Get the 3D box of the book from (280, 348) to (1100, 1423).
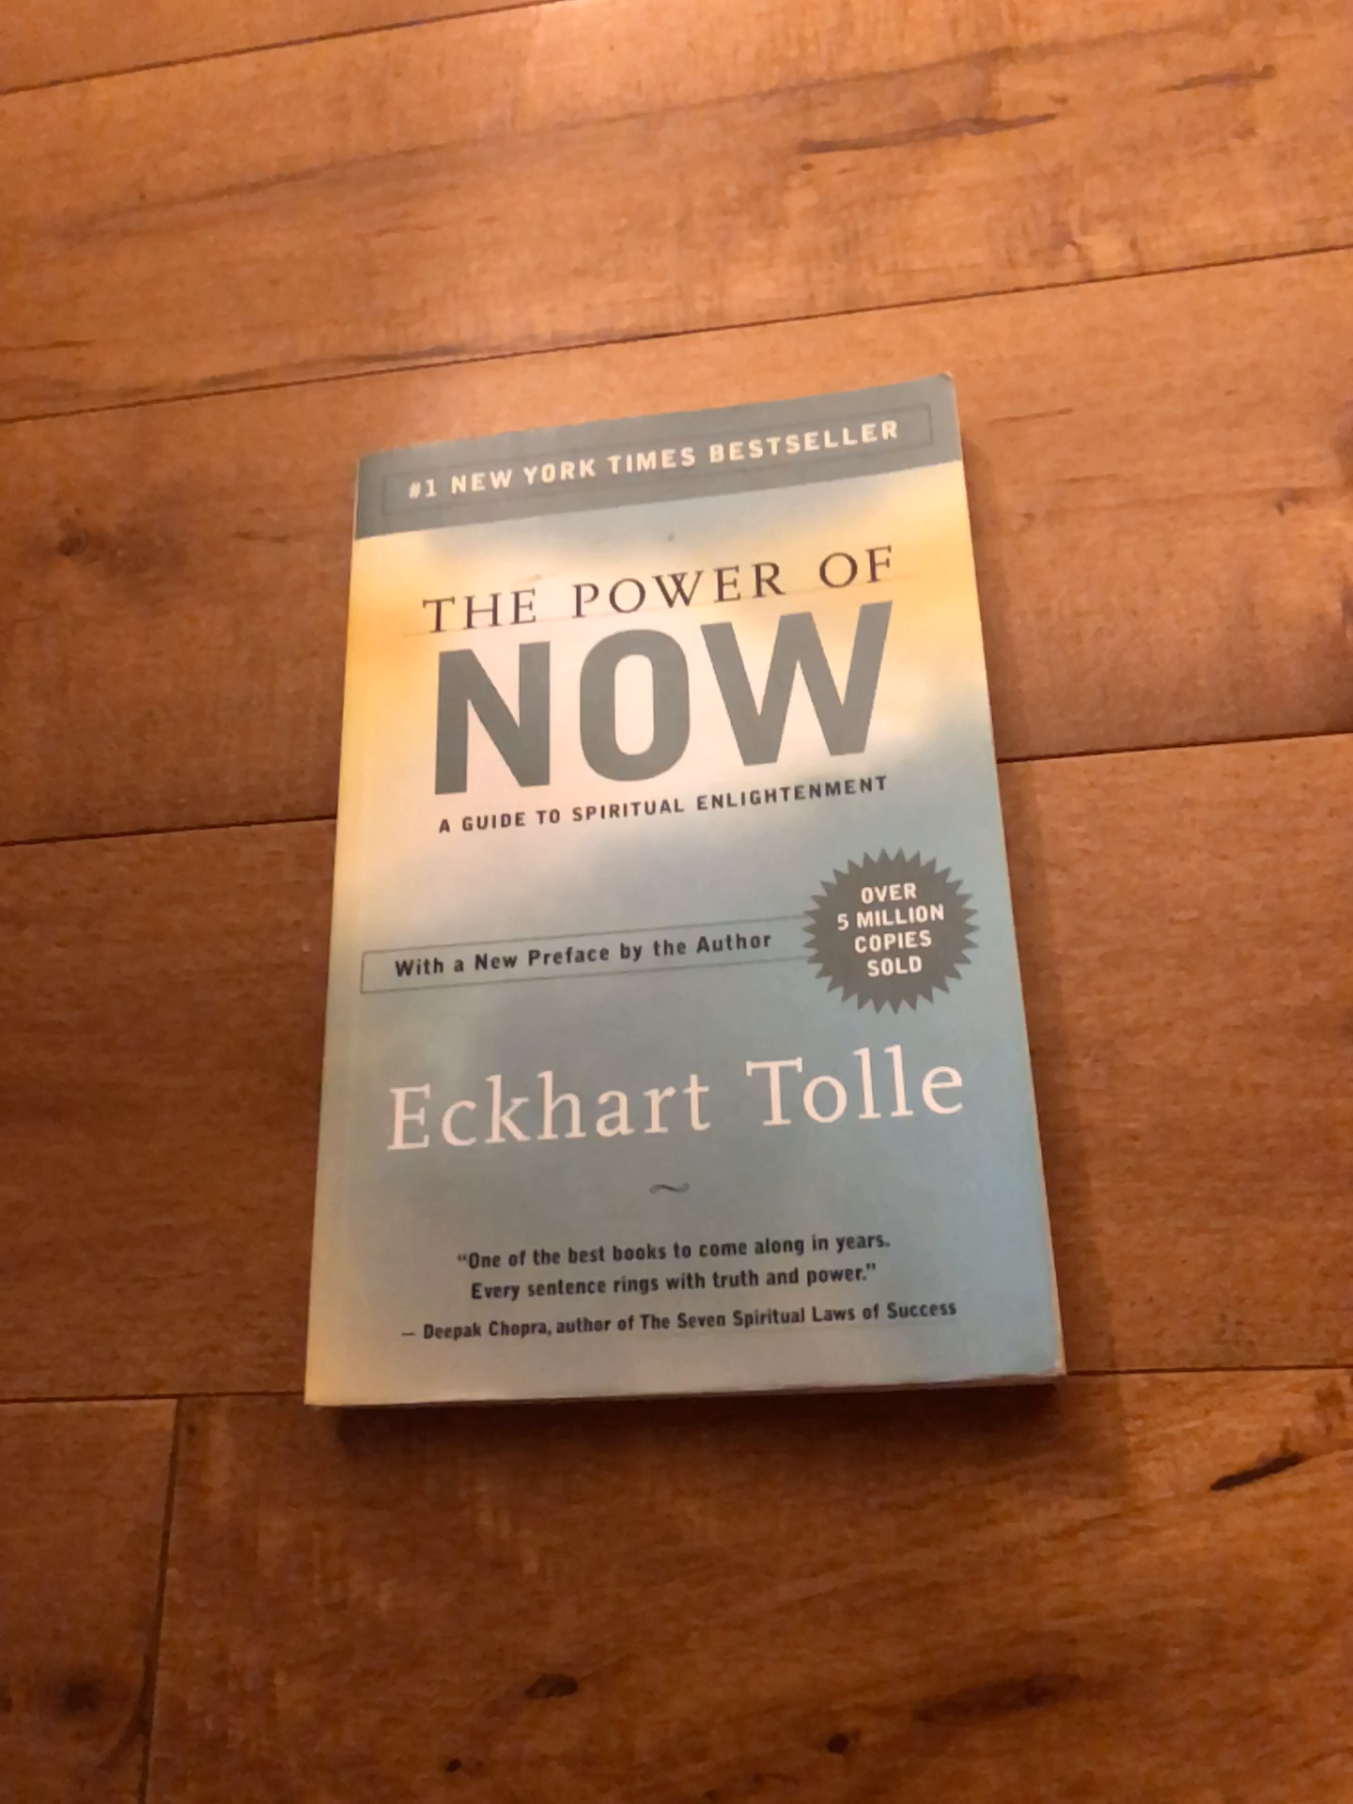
[{"bbox_3d":[-0.001,-0.010,0.318,0.146,0.030,0.222,-5,68,8],"label":"book"}]
